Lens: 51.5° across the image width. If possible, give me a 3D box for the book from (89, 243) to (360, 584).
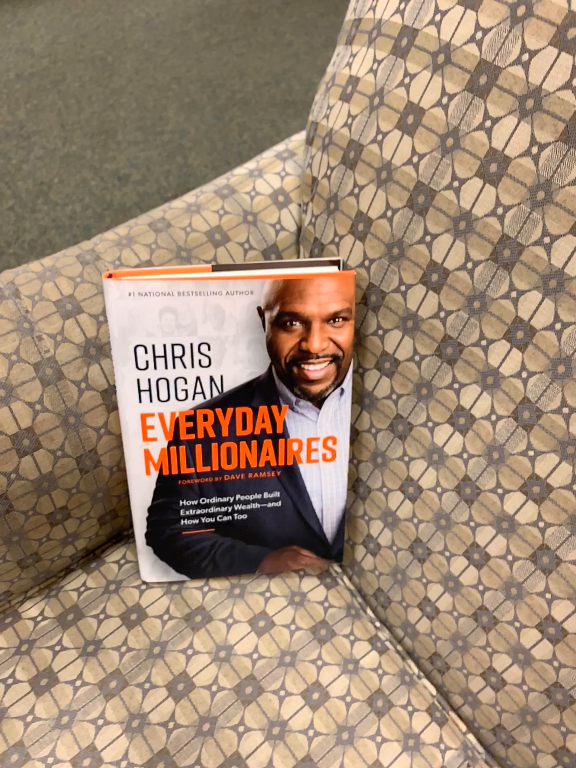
[{"bbox_3d":[-0.037,0.029,0.424,0.160,0.244,0.038,-3,26,-5],"label":"book"}]
